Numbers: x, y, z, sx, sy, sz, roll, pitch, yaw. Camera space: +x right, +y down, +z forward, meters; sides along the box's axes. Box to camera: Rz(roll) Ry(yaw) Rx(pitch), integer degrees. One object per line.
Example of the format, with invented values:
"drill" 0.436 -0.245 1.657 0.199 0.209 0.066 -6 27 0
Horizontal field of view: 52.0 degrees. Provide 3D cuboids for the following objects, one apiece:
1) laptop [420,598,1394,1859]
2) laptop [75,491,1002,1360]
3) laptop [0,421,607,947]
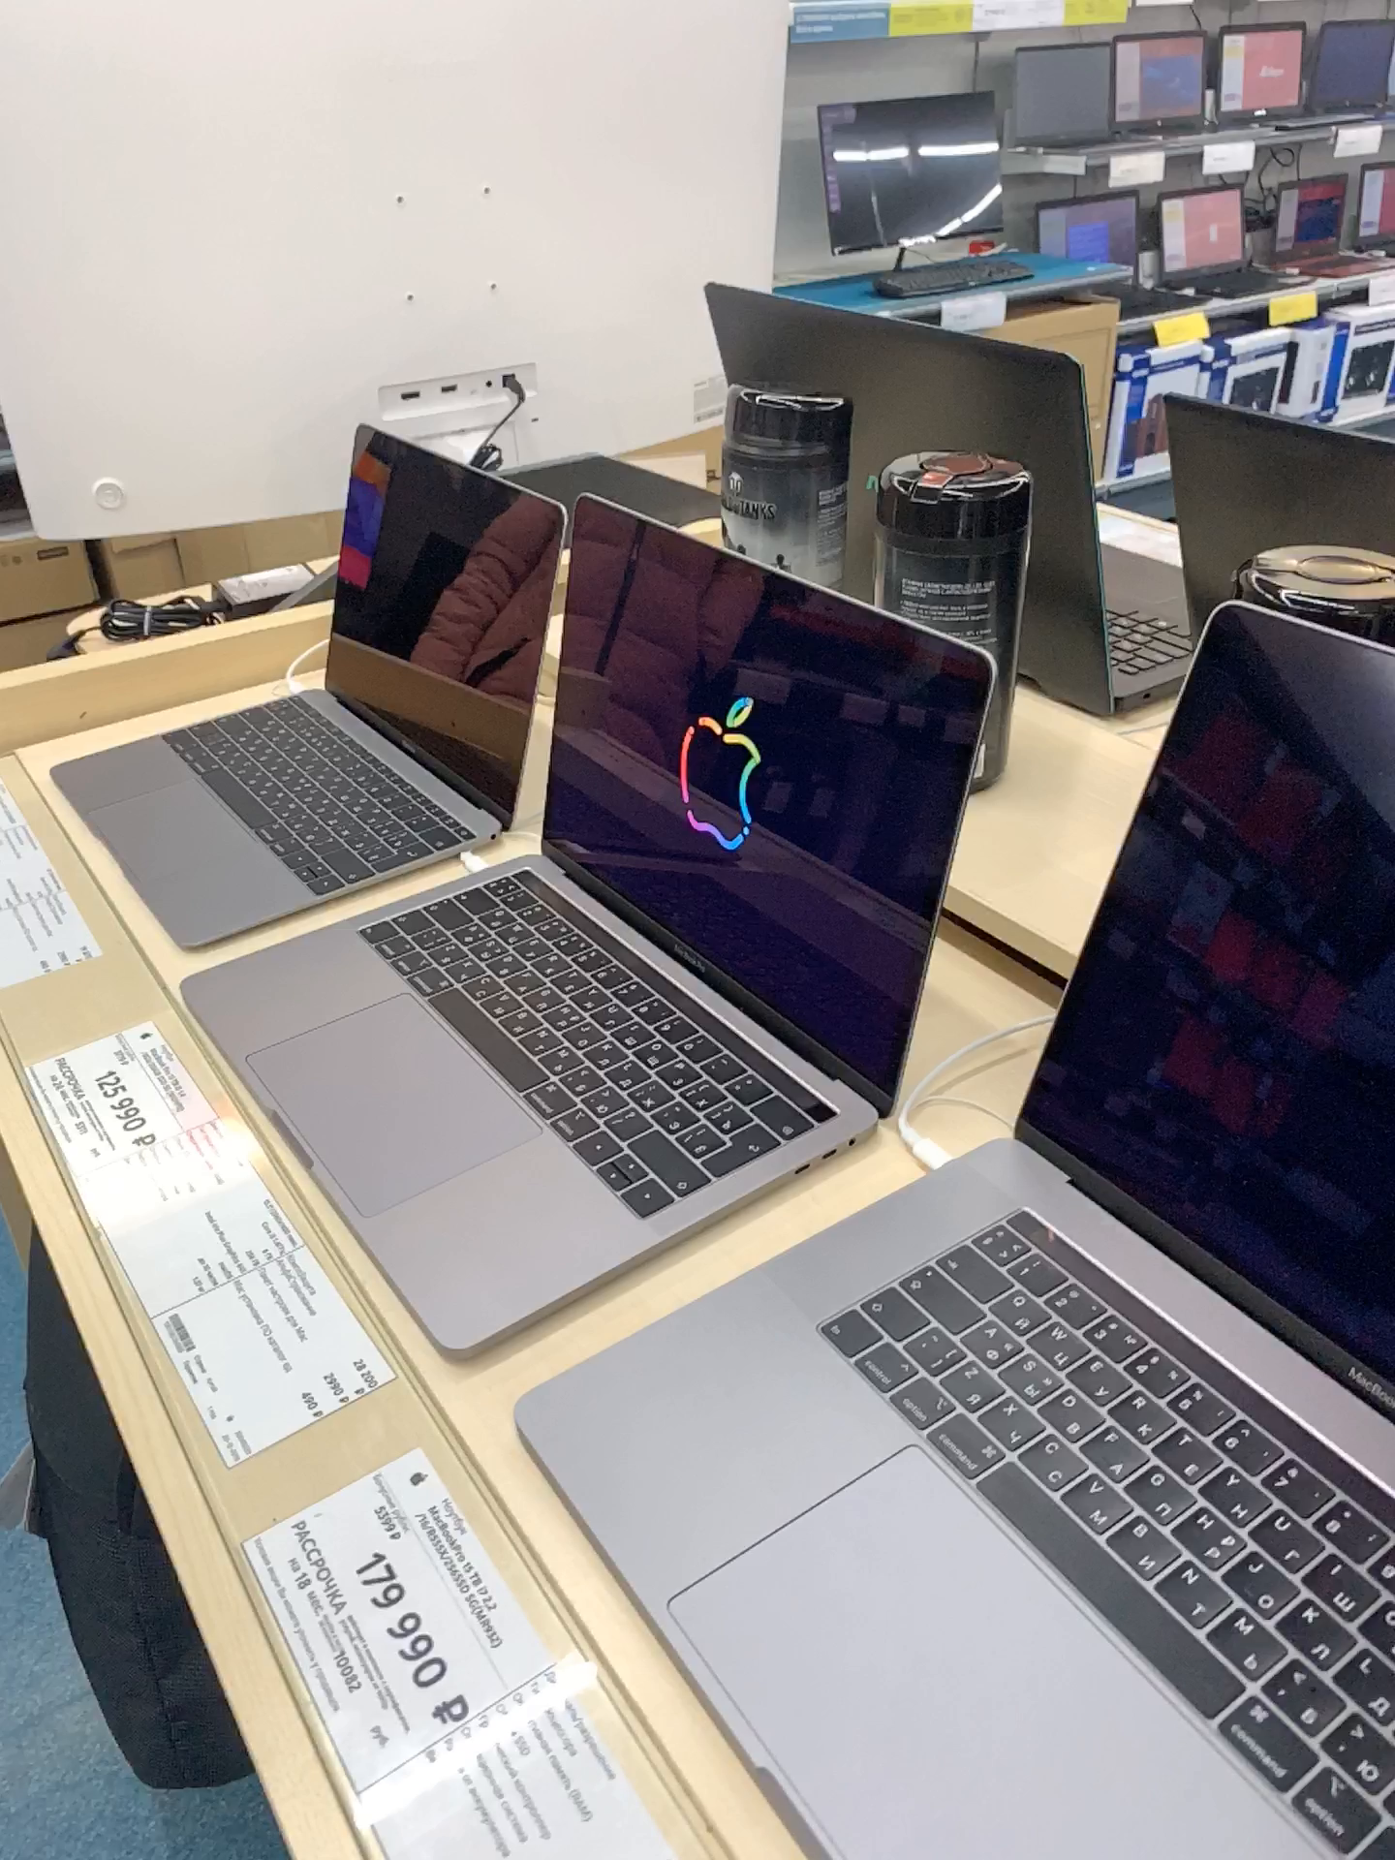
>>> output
"laptop" 0.162 0.093 0.380 0.327 0.210 0.348 -21 36 -27
"laptop" -0.075 -0.037 0.627 0.260 0.195 0.301 -23 38 -28
"laptop" -0.248 -0.171 0.869 0.265 0.172 0.281 -24 38 -28
